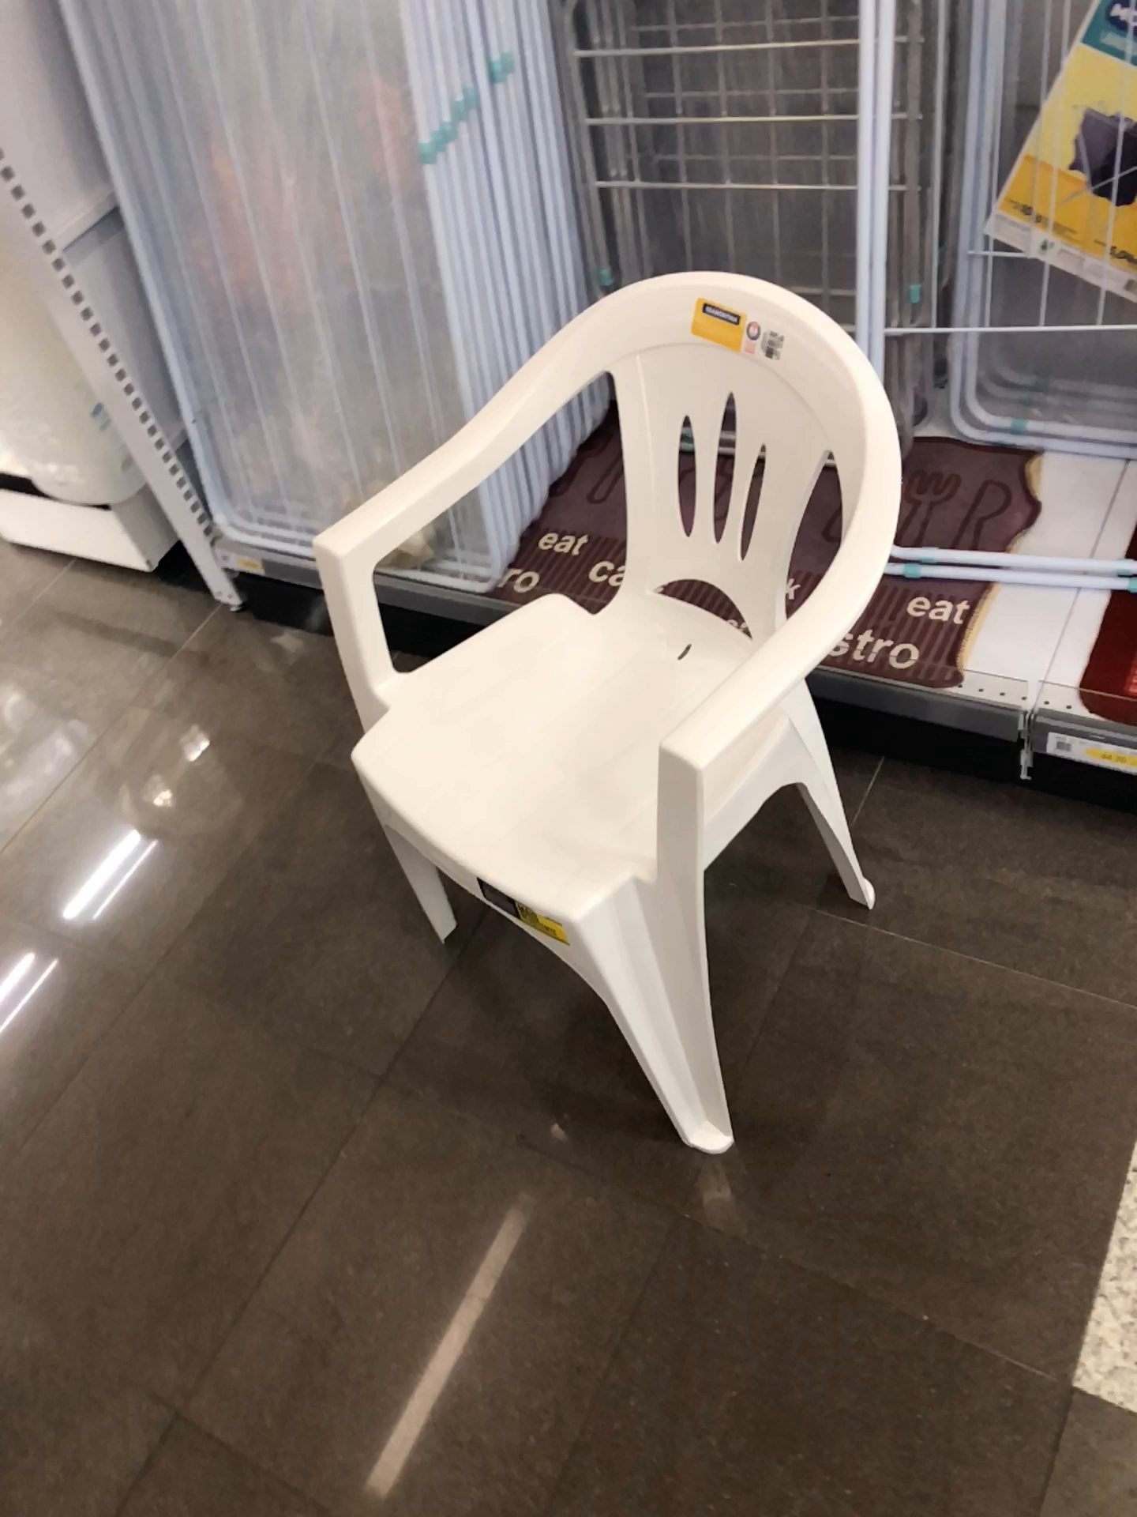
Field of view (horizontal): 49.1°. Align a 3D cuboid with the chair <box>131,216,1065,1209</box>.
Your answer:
[{"bbox_3d":[0.087,-0.063,1.358,0.603,0.705,0.602,28,62,35],"label":"chair"}]
